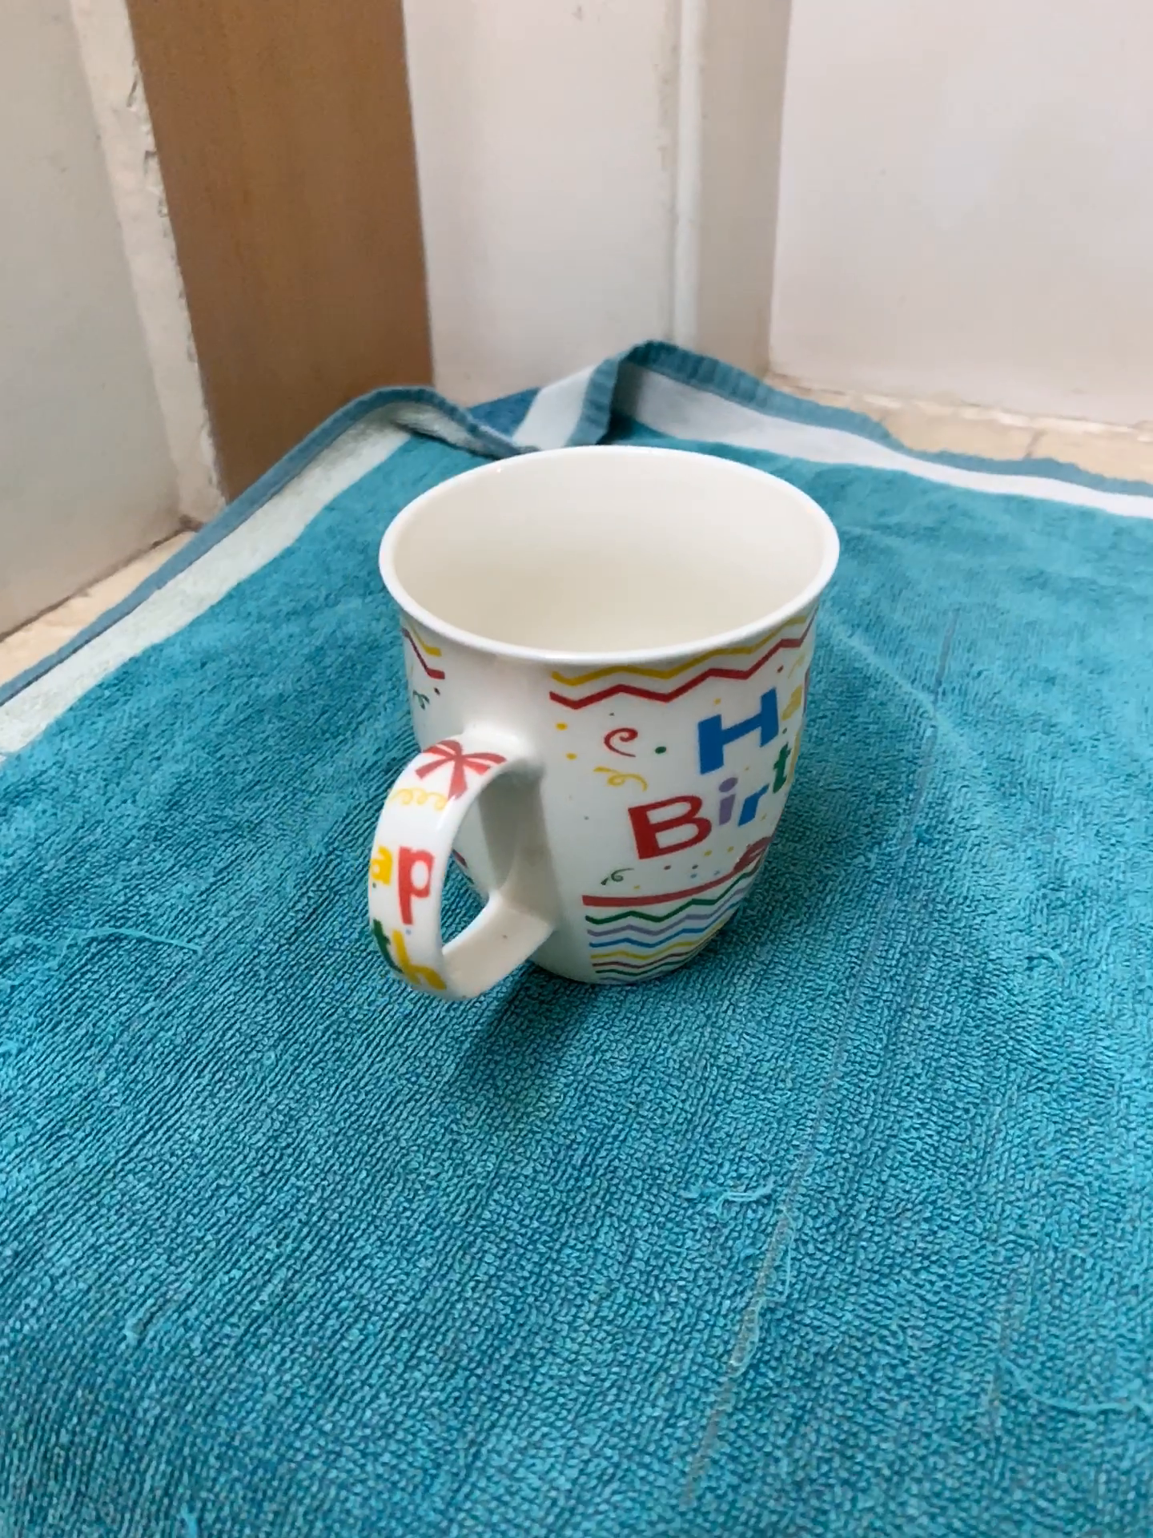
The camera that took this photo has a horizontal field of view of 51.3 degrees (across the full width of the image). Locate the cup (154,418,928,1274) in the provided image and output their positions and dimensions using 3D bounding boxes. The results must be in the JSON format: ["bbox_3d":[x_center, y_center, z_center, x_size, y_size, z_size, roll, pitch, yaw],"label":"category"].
[{"bbox_3d":[0.004,0.004,0.250,0.090,0.099,0.131,17,40,23],"label":"cup"}]
